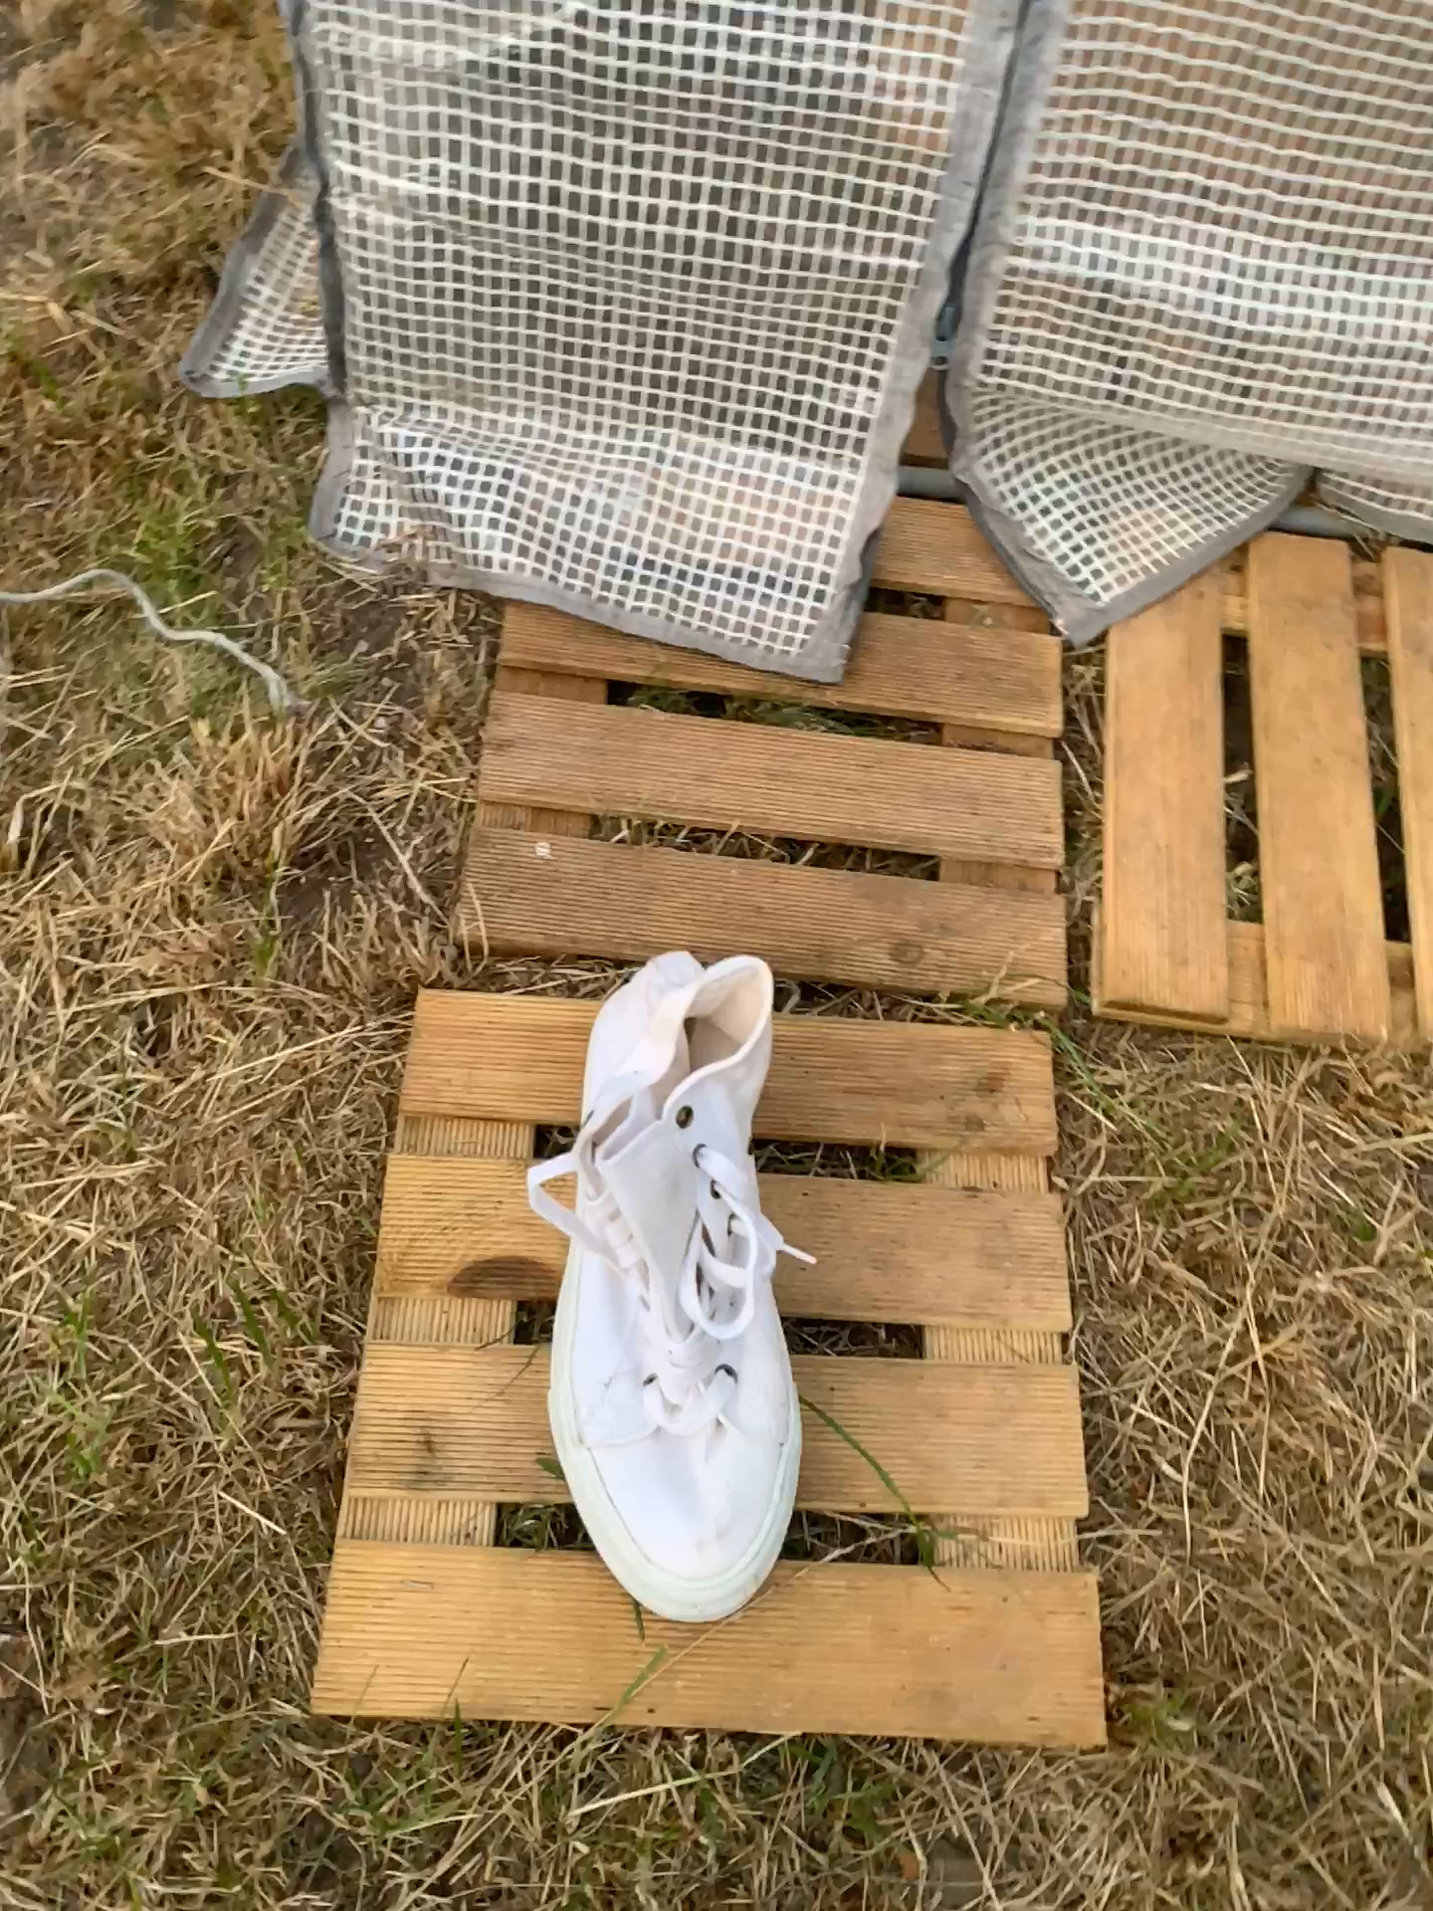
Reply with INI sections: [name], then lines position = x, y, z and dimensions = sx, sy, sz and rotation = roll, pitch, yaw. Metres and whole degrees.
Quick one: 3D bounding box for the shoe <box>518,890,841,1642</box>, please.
[shoe]
position = -0.016, 0.115, 0.567
dimensions = 0.100, 0.109, 0.262
rotation = 3, 58, -4
